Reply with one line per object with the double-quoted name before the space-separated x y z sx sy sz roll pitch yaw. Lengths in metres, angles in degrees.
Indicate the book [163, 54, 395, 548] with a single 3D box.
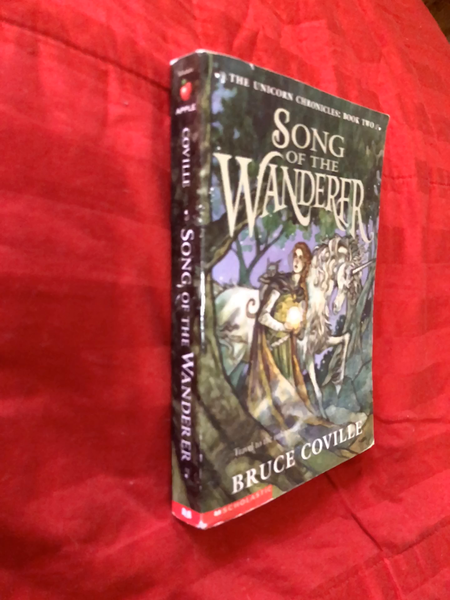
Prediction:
"book" 0.034 -0.001 0.244 0.131 0.030 0.190 -6 98 -42
